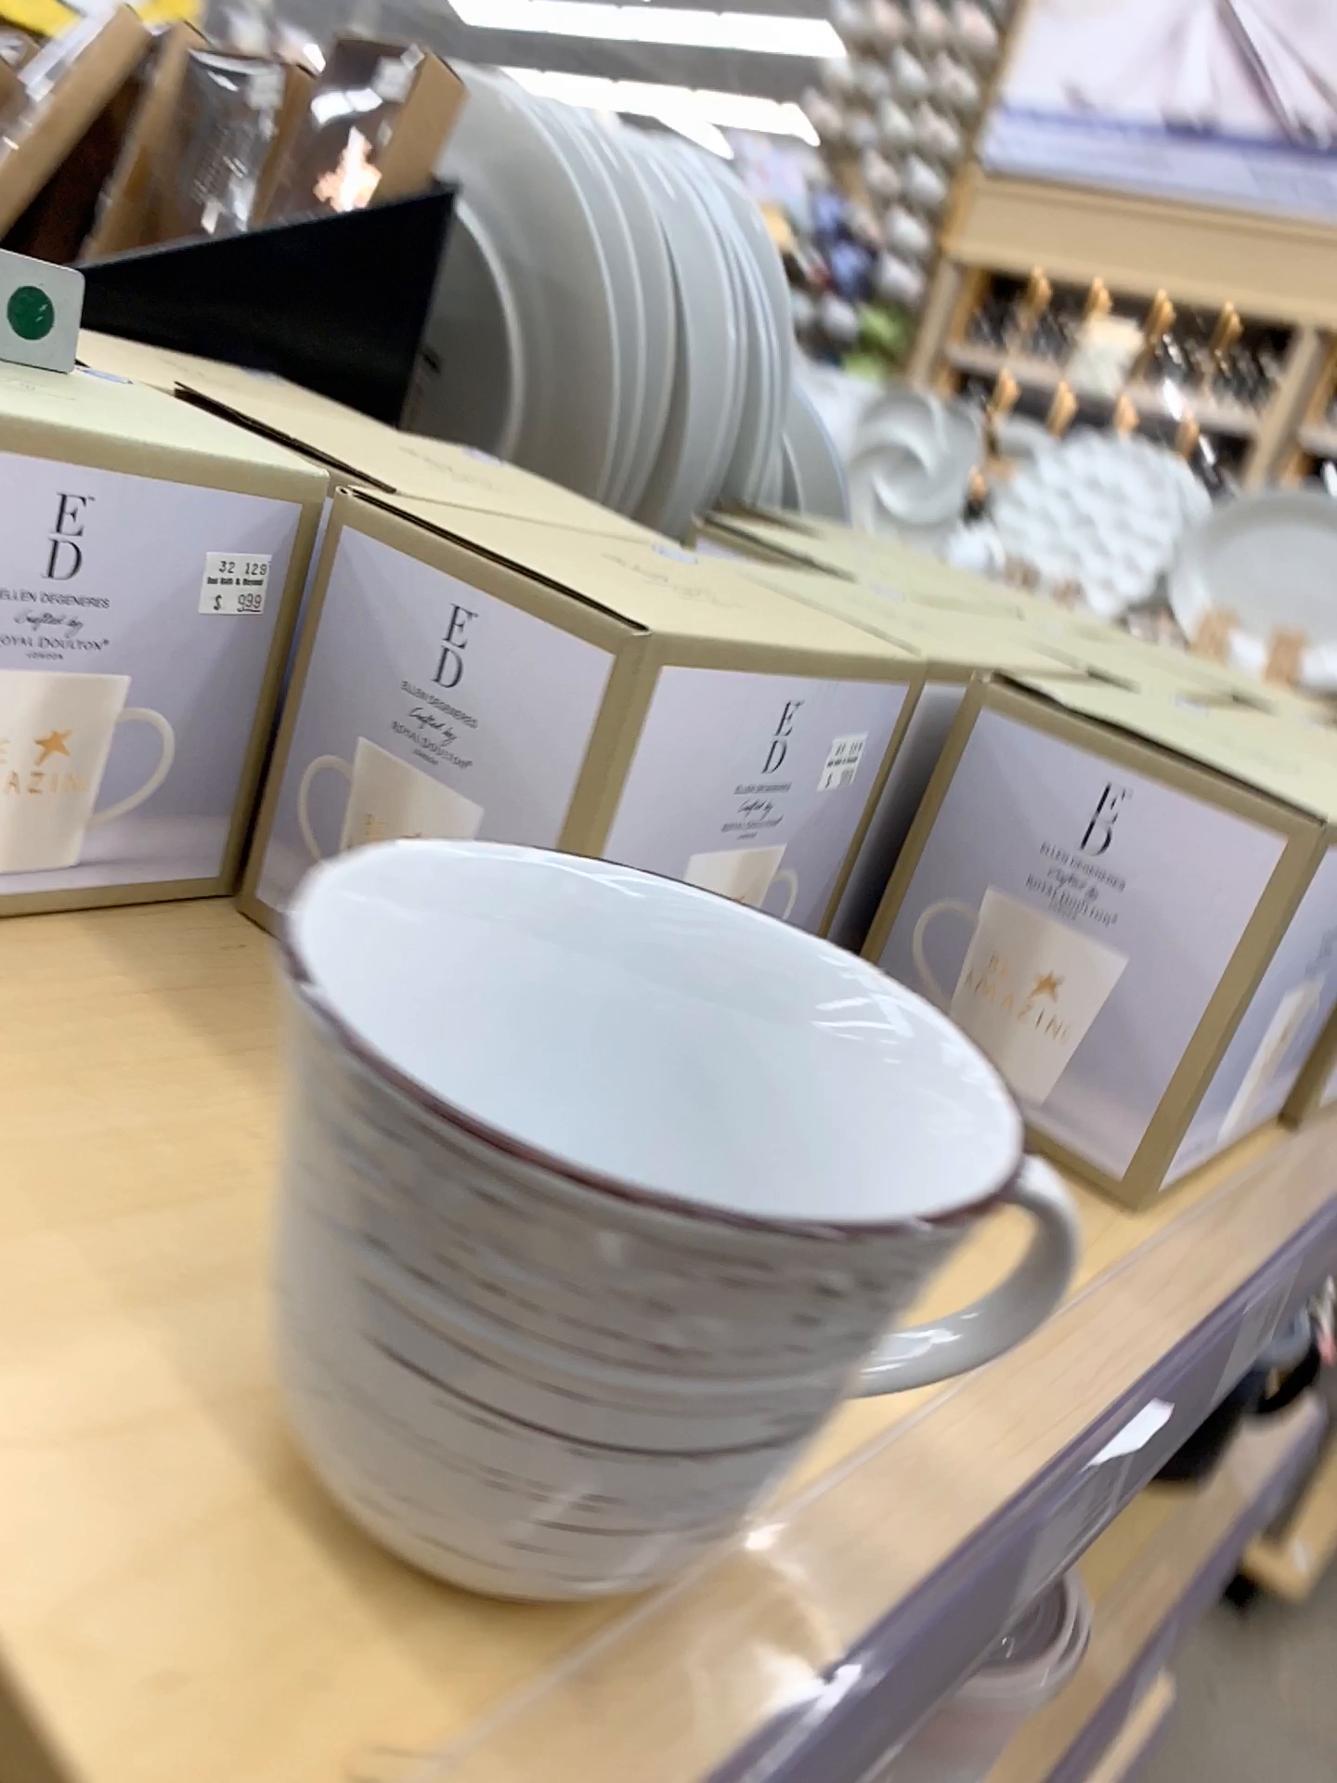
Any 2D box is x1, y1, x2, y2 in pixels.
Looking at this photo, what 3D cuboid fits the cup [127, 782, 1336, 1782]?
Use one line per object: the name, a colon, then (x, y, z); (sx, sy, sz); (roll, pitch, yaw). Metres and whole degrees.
cup: (0.005, 0.049, 0.211); (0.124, 0.075, 0.114); (15, 18, -5)
